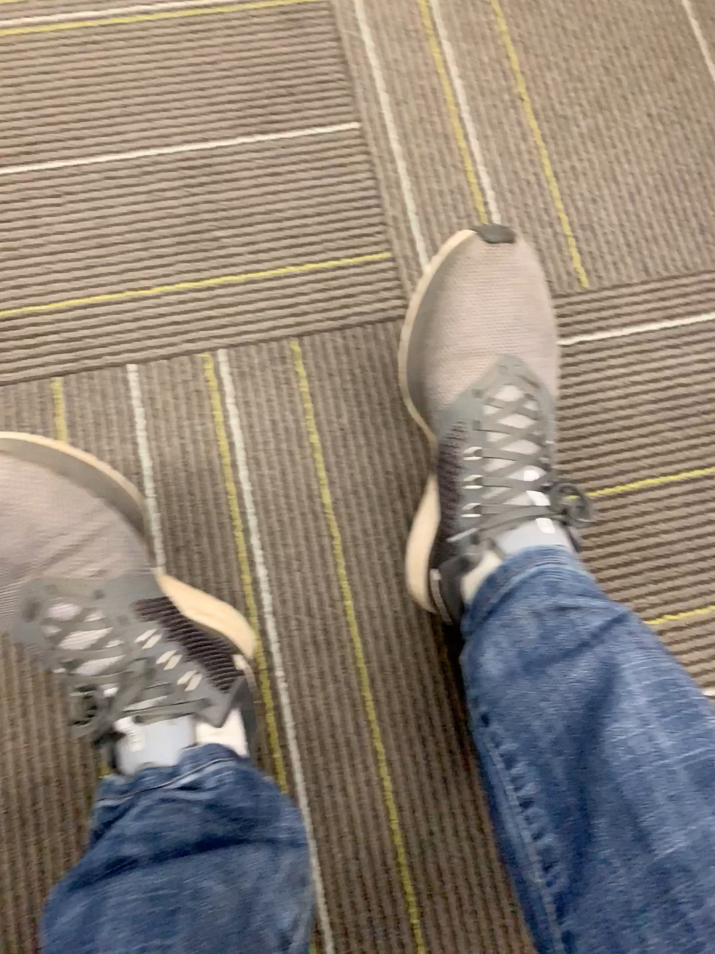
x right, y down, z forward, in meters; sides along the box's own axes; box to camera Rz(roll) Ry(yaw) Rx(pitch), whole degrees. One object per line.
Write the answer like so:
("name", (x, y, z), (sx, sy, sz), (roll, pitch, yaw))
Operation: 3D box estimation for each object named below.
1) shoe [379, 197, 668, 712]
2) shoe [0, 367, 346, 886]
("shoe", (0.093, -0.018, 0.474), (0.119, 0.122, 0.294), (-8, 113, -11))
("shoe", (-0.130, 0.105, 0.417), (0.119, 0.294, 0.122), (-30, 45, -3))
